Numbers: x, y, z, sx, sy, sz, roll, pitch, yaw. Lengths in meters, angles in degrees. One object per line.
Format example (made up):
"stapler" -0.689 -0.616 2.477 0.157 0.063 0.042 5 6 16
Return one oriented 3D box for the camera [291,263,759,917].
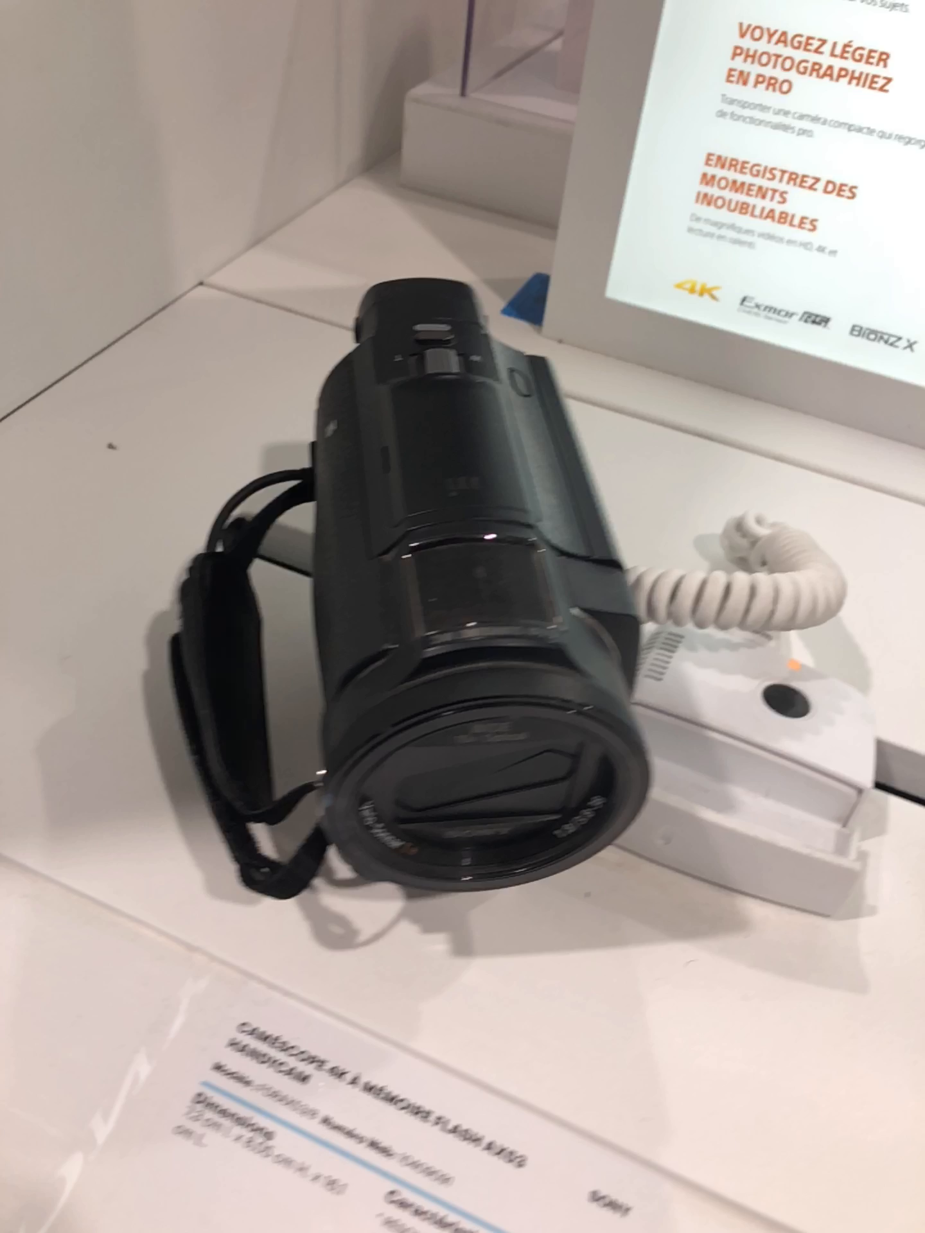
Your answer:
"camera" -0.001 -0.017 0.245 0.073 0.070 0.149 -2 43 -10
